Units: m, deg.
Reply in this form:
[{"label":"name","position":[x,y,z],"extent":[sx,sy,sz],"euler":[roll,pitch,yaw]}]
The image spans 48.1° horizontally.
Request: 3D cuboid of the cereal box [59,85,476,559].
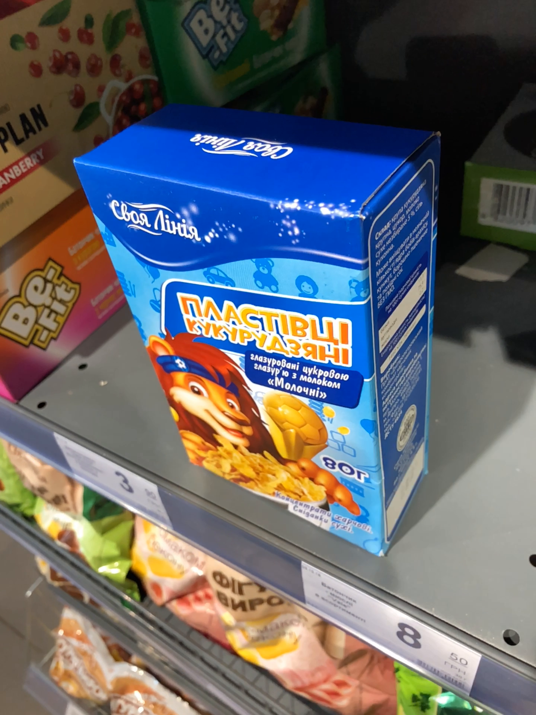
[{"label":"cereal box","position":[0.008,-0.010,0.248],"extent":[0.120,0.169,0.060],"euler":[19,51,28]}]
